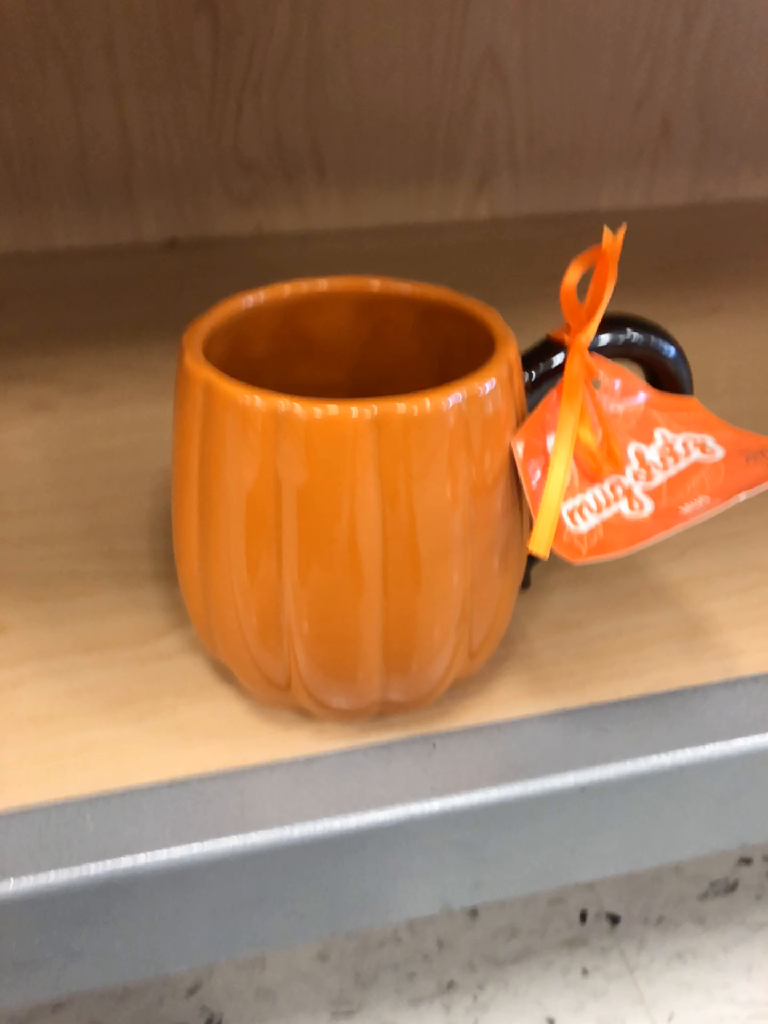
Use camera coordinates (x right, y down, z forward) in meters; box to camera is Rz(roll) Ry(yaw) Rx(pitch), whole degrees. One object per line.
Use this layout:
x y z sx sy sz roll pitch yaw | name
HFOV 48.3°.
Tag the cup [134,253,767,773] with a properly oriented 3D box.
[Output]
0.013 -0.006 0.227 0.140 0.089 0.081 -8 36 -11 | cup
